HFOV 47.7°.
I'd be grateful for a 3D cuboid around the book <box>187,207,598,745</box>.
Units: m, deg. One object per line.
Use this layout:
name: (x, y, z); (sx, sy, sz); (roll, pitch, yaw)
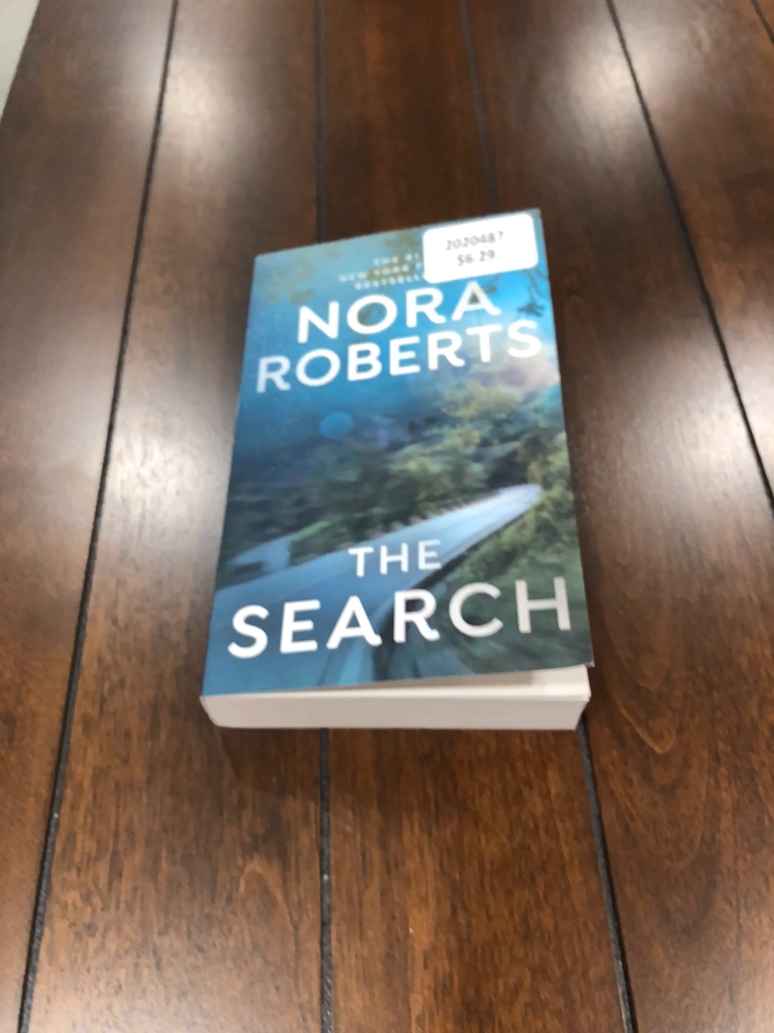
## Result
book: (0.006, -0.018, 0.291); (0.108, 0.050, 0.170); (-5, 58, 10)
